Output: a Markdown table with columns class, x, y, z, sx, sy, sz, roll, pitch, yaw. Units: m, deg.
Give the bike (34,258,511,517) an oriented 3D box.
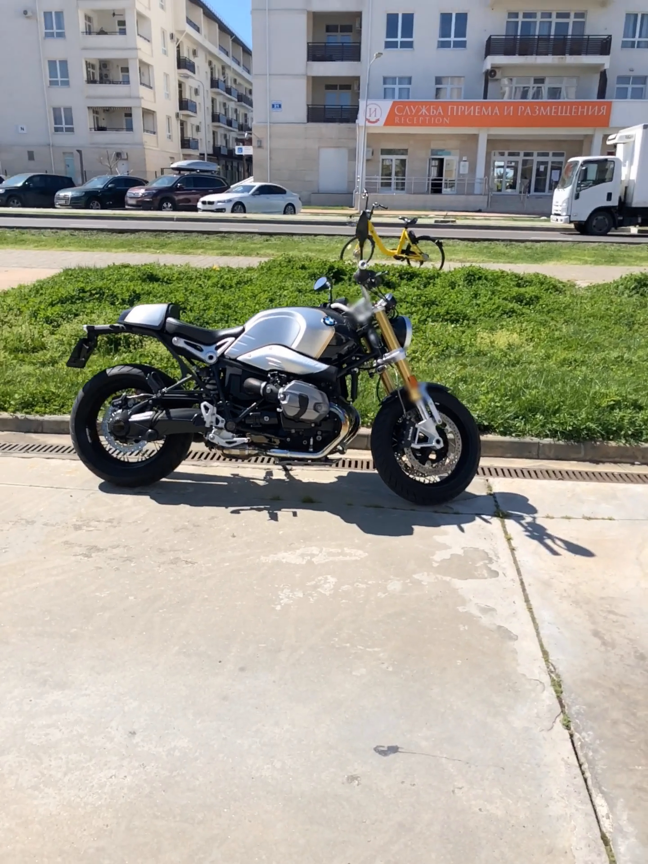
| class | x | y | z | sx | sy | sz | roll | pitch | yaw |
| --- | --- | --- | --- | --- | --- | --- | --- | --- | --- |
| bike | -0.259 | -0.245 | 3.565 | 2.068 | 1.123 | 0.649 | 1 | 18 | -1 |
